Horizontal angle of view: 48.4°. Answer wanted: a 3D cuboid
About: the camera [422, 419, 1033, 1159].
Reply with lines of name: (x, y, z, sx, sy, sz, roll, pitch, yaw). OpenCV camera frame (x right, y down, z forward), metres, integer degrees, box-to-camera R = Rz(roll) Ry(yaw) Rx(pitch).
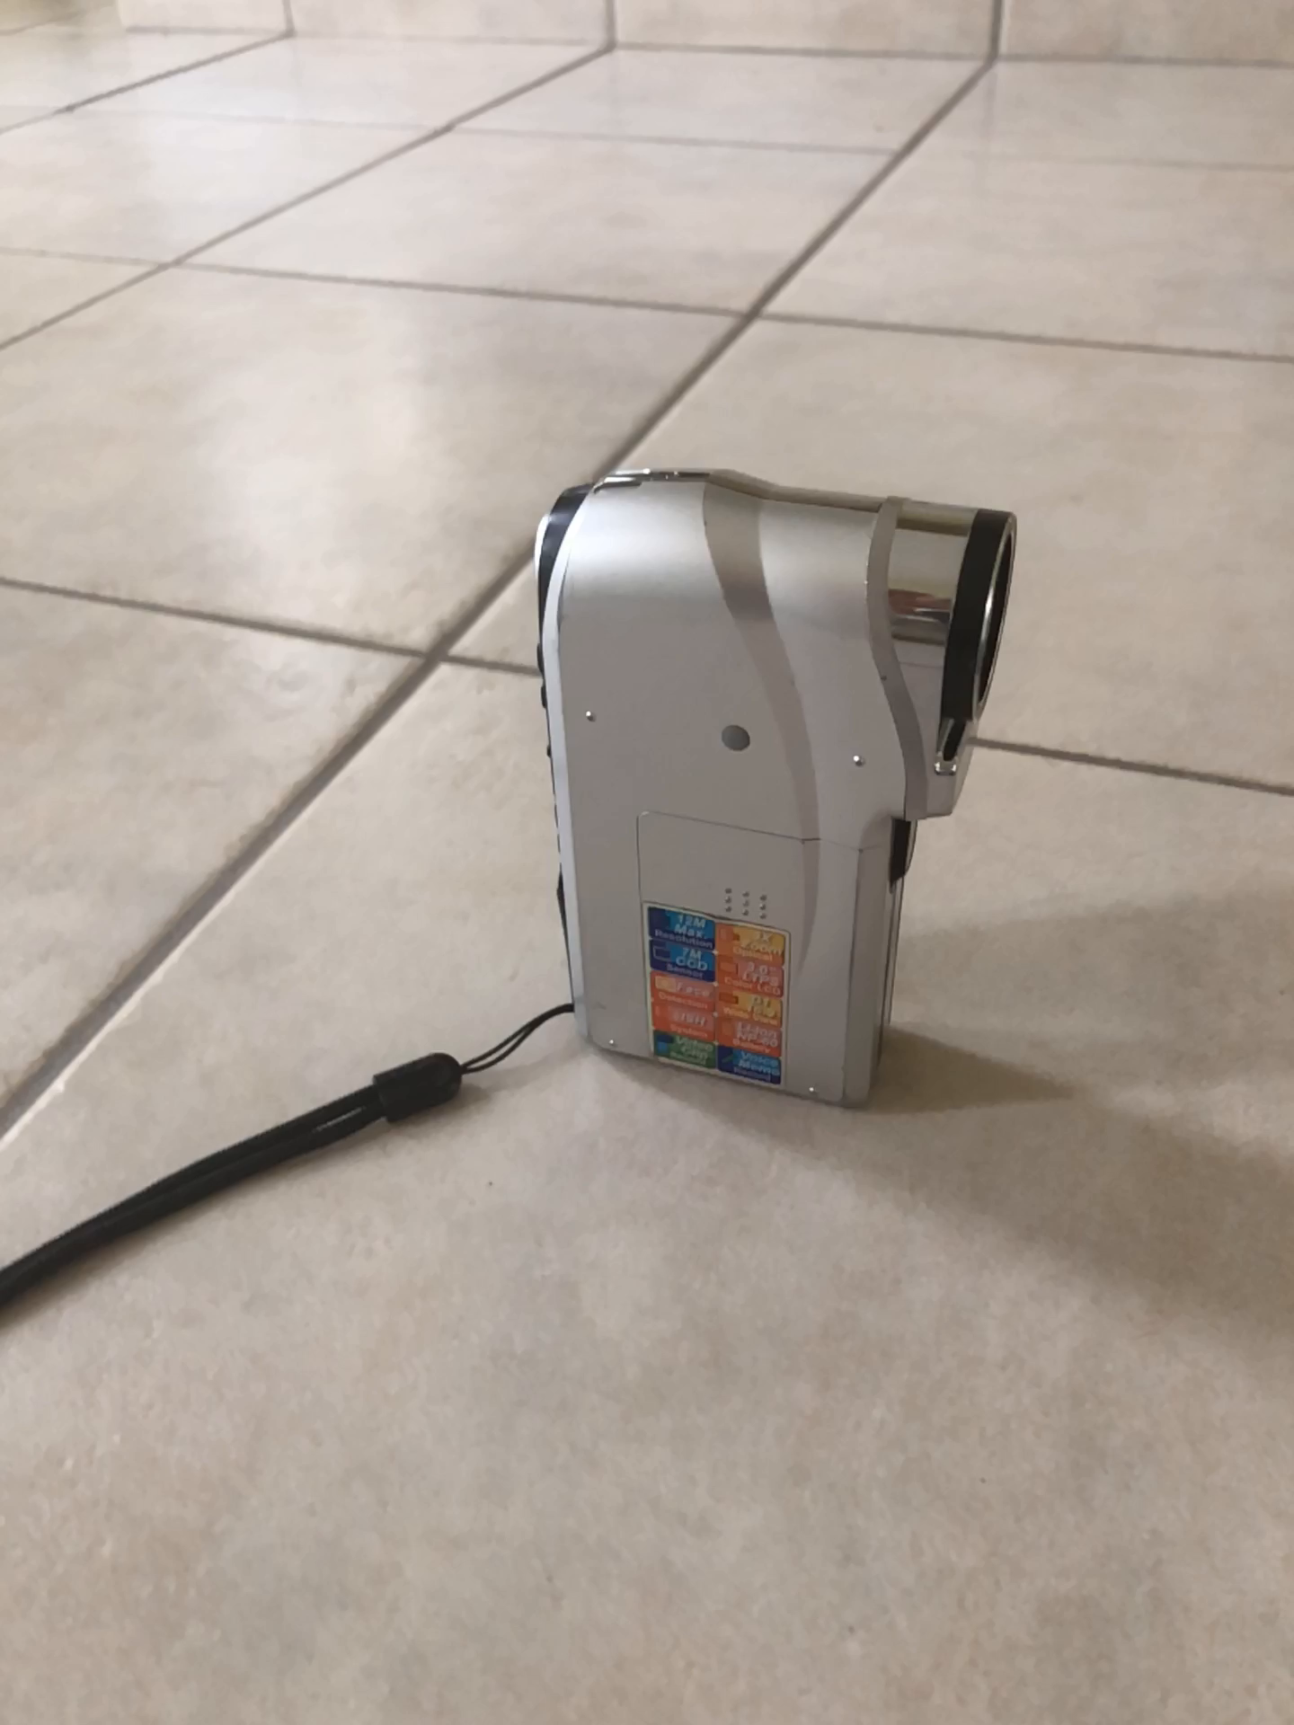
camera: (0.015, -0.010, 0.240, 0.080, 0.109, 0.040, 9, 39, 15)
